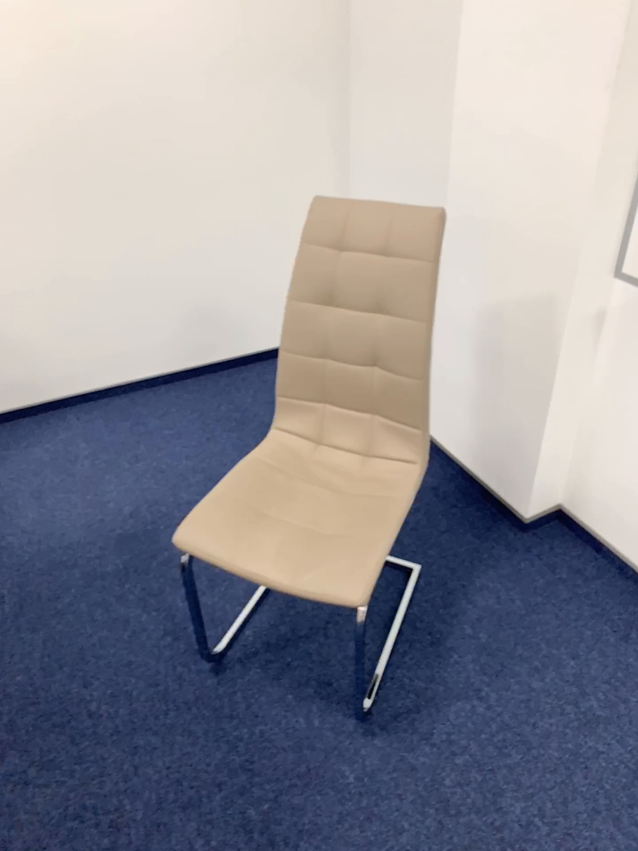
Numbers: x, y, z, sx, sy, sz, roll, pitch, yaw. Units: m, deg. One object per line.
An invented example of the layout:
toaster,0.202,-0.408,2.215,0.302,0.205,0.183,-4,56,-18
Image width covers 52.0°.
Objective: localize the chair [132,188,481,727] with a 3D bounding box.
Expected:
chair,0.021,0.067,1.446,0.440,0.985,0.533,13,36,21
